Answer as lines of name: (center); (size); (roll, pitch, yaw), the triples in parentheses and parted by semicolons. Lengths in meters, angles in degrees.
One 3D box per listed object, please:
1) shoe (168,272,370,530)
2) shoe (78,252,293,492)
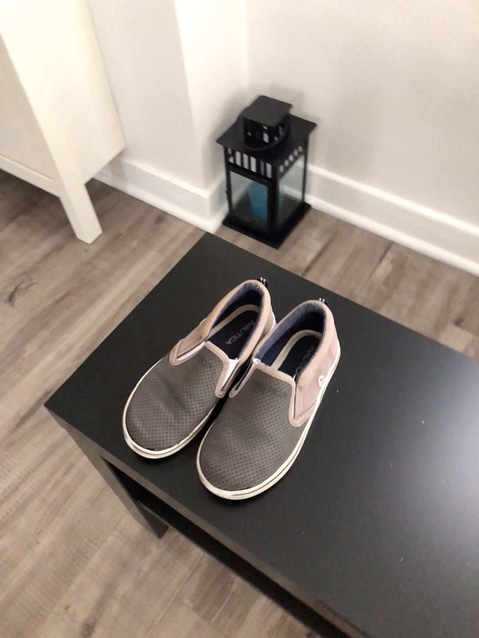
shoe: (0.031, 0.063, 0.445); (0.077, 0.070, 0.190); (24, 61, 19)
shoe: (-0.037, 0.041, 0.467); (0.078, 0.070, 0.190); (29, 63, 21)
